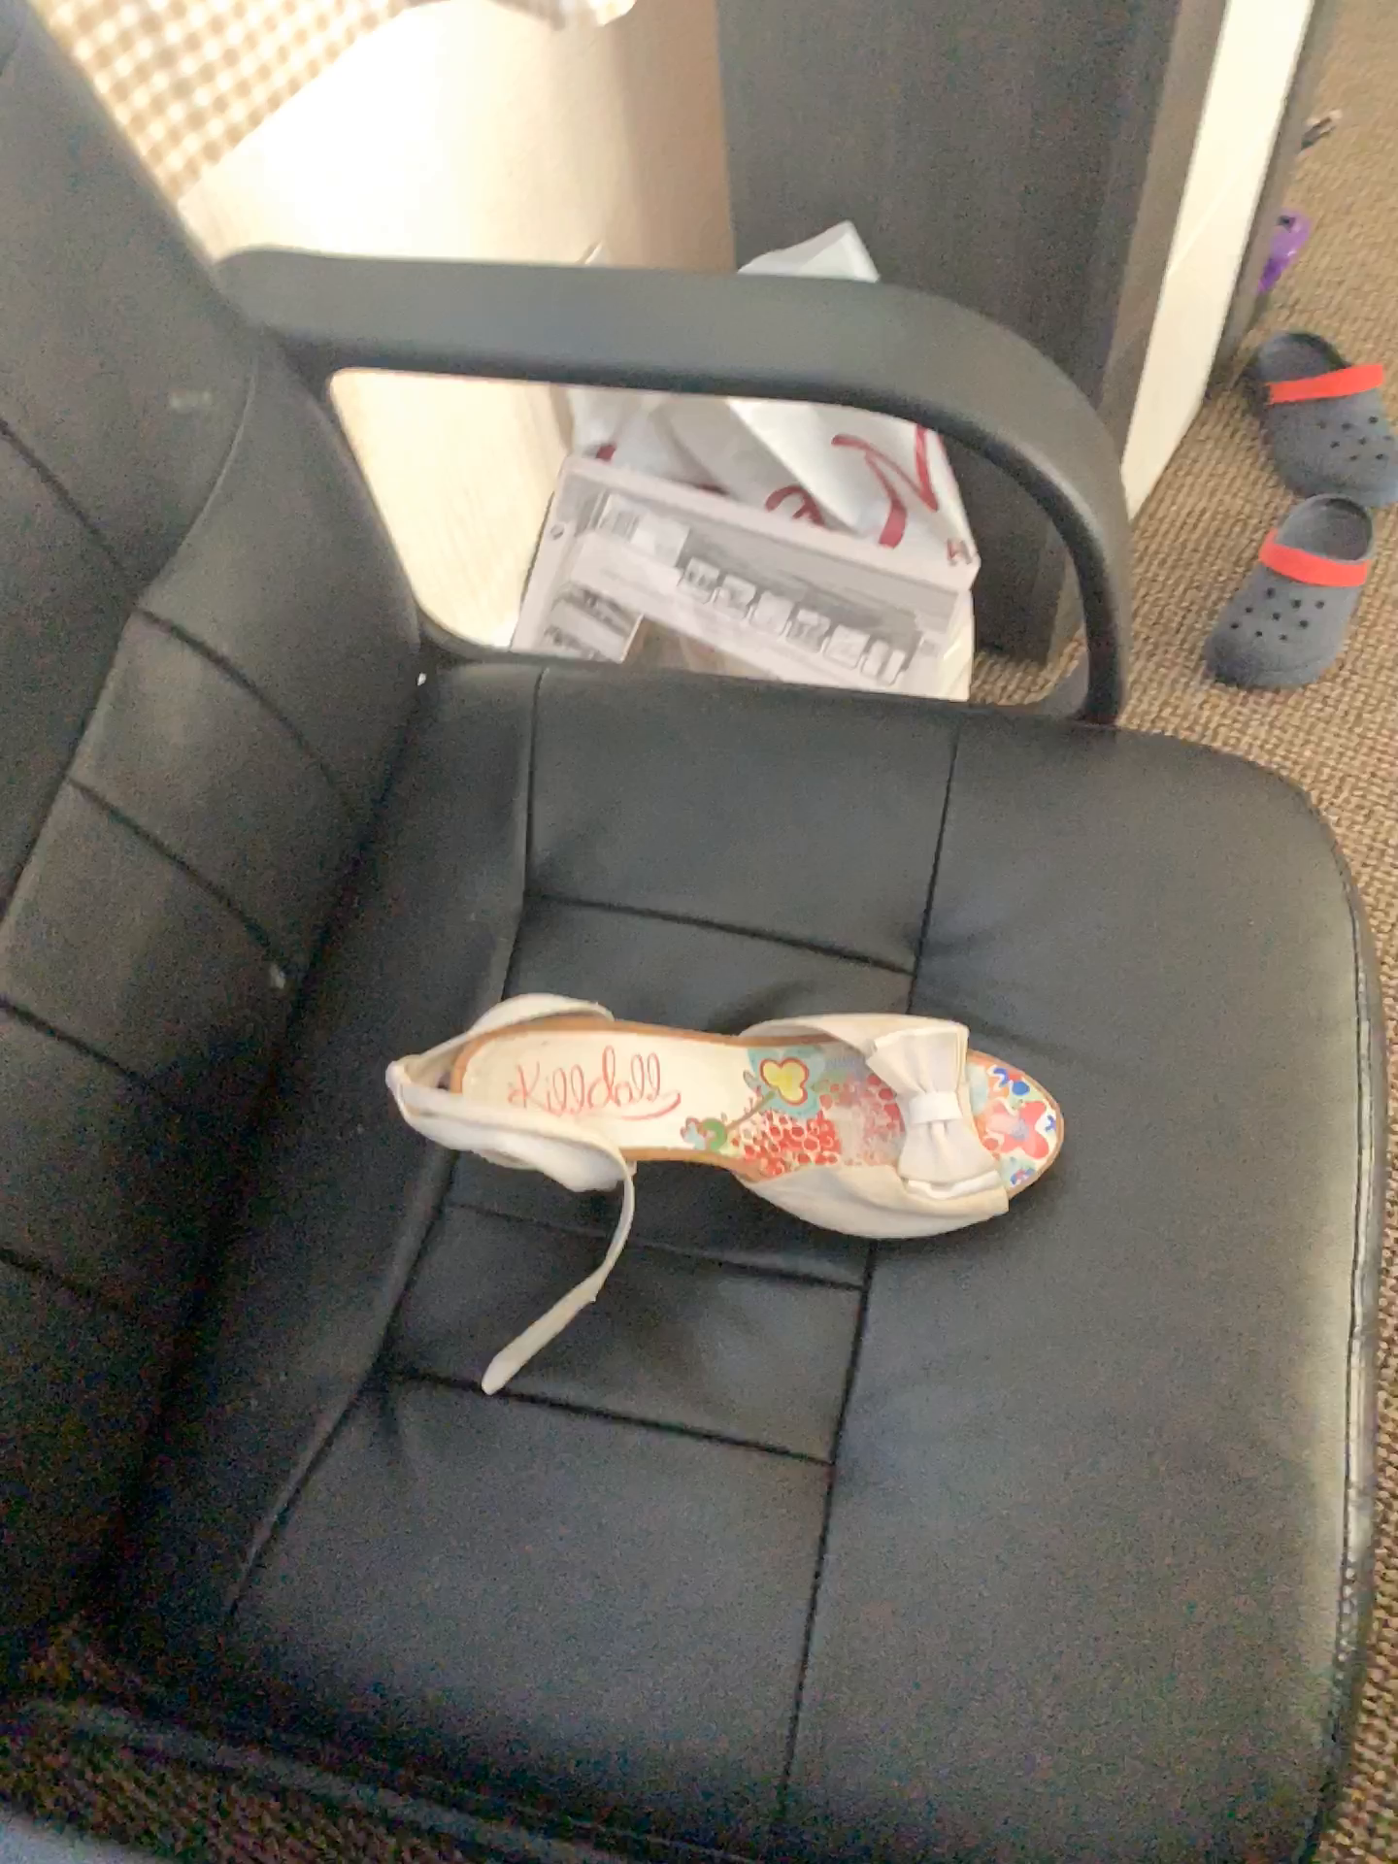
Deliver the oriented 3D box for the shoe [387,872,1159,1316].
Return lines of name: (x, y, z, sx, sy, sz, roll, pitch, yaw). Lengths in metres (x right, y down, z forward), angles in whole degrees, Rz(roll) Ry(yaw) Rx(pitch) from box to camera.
shoe: (0.029, 0.073, 0.550, 0.240, 0.189, 0.101, -3, 62, 4)
